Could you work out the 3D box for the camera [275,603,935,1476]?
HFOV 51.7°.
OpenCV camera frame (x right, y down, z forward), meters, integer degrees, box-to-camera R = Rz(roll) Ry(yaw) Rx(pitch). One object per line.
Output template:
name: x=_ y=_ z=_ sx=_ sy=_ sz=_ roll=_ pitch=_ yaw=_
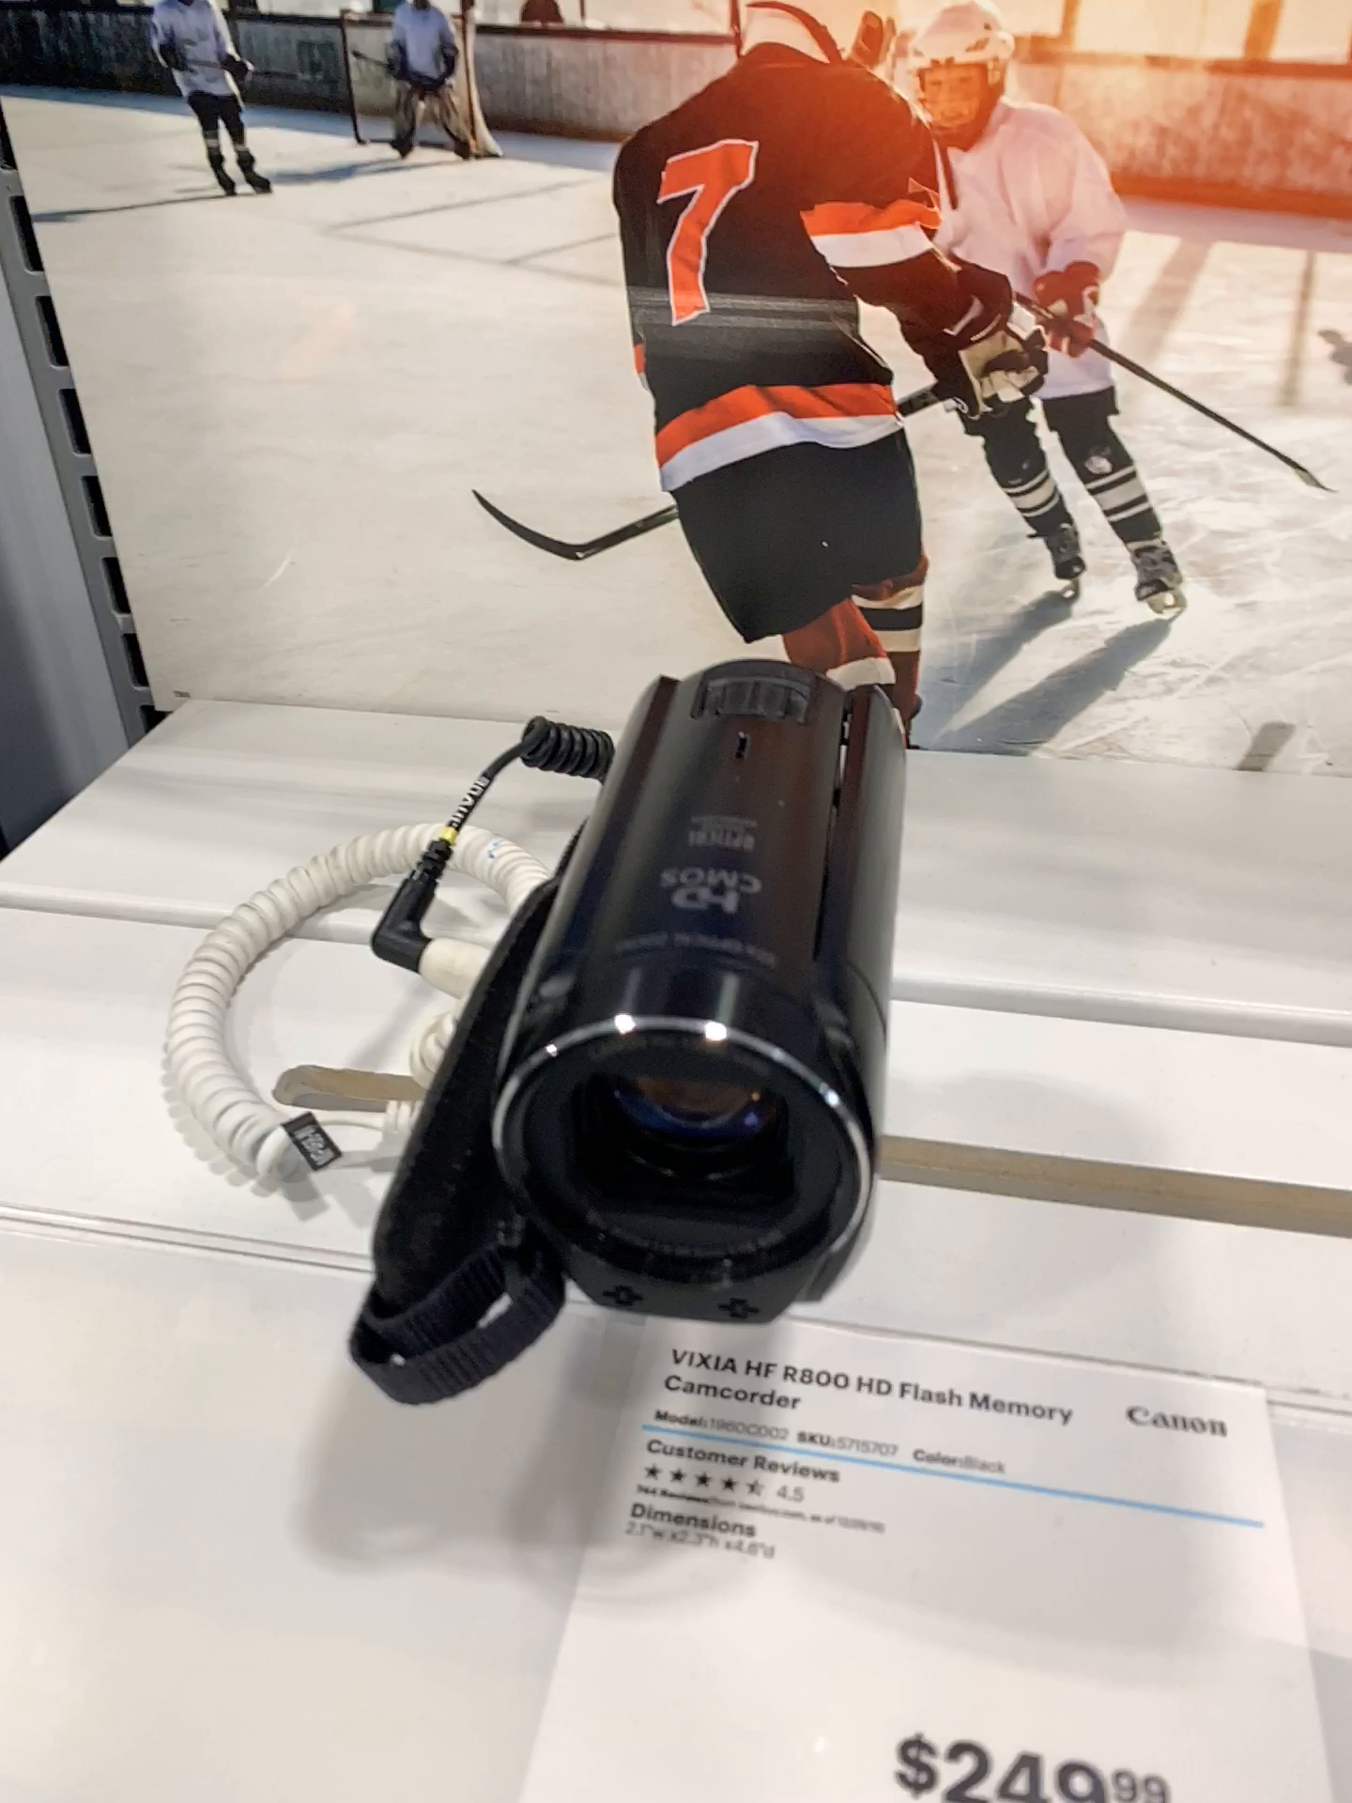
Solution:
camera: x=0.002 y=0.009 z=0.230 sx=0.072 sy=0.062 sz=0.140 roll=5 pitch=35 yaw=9
